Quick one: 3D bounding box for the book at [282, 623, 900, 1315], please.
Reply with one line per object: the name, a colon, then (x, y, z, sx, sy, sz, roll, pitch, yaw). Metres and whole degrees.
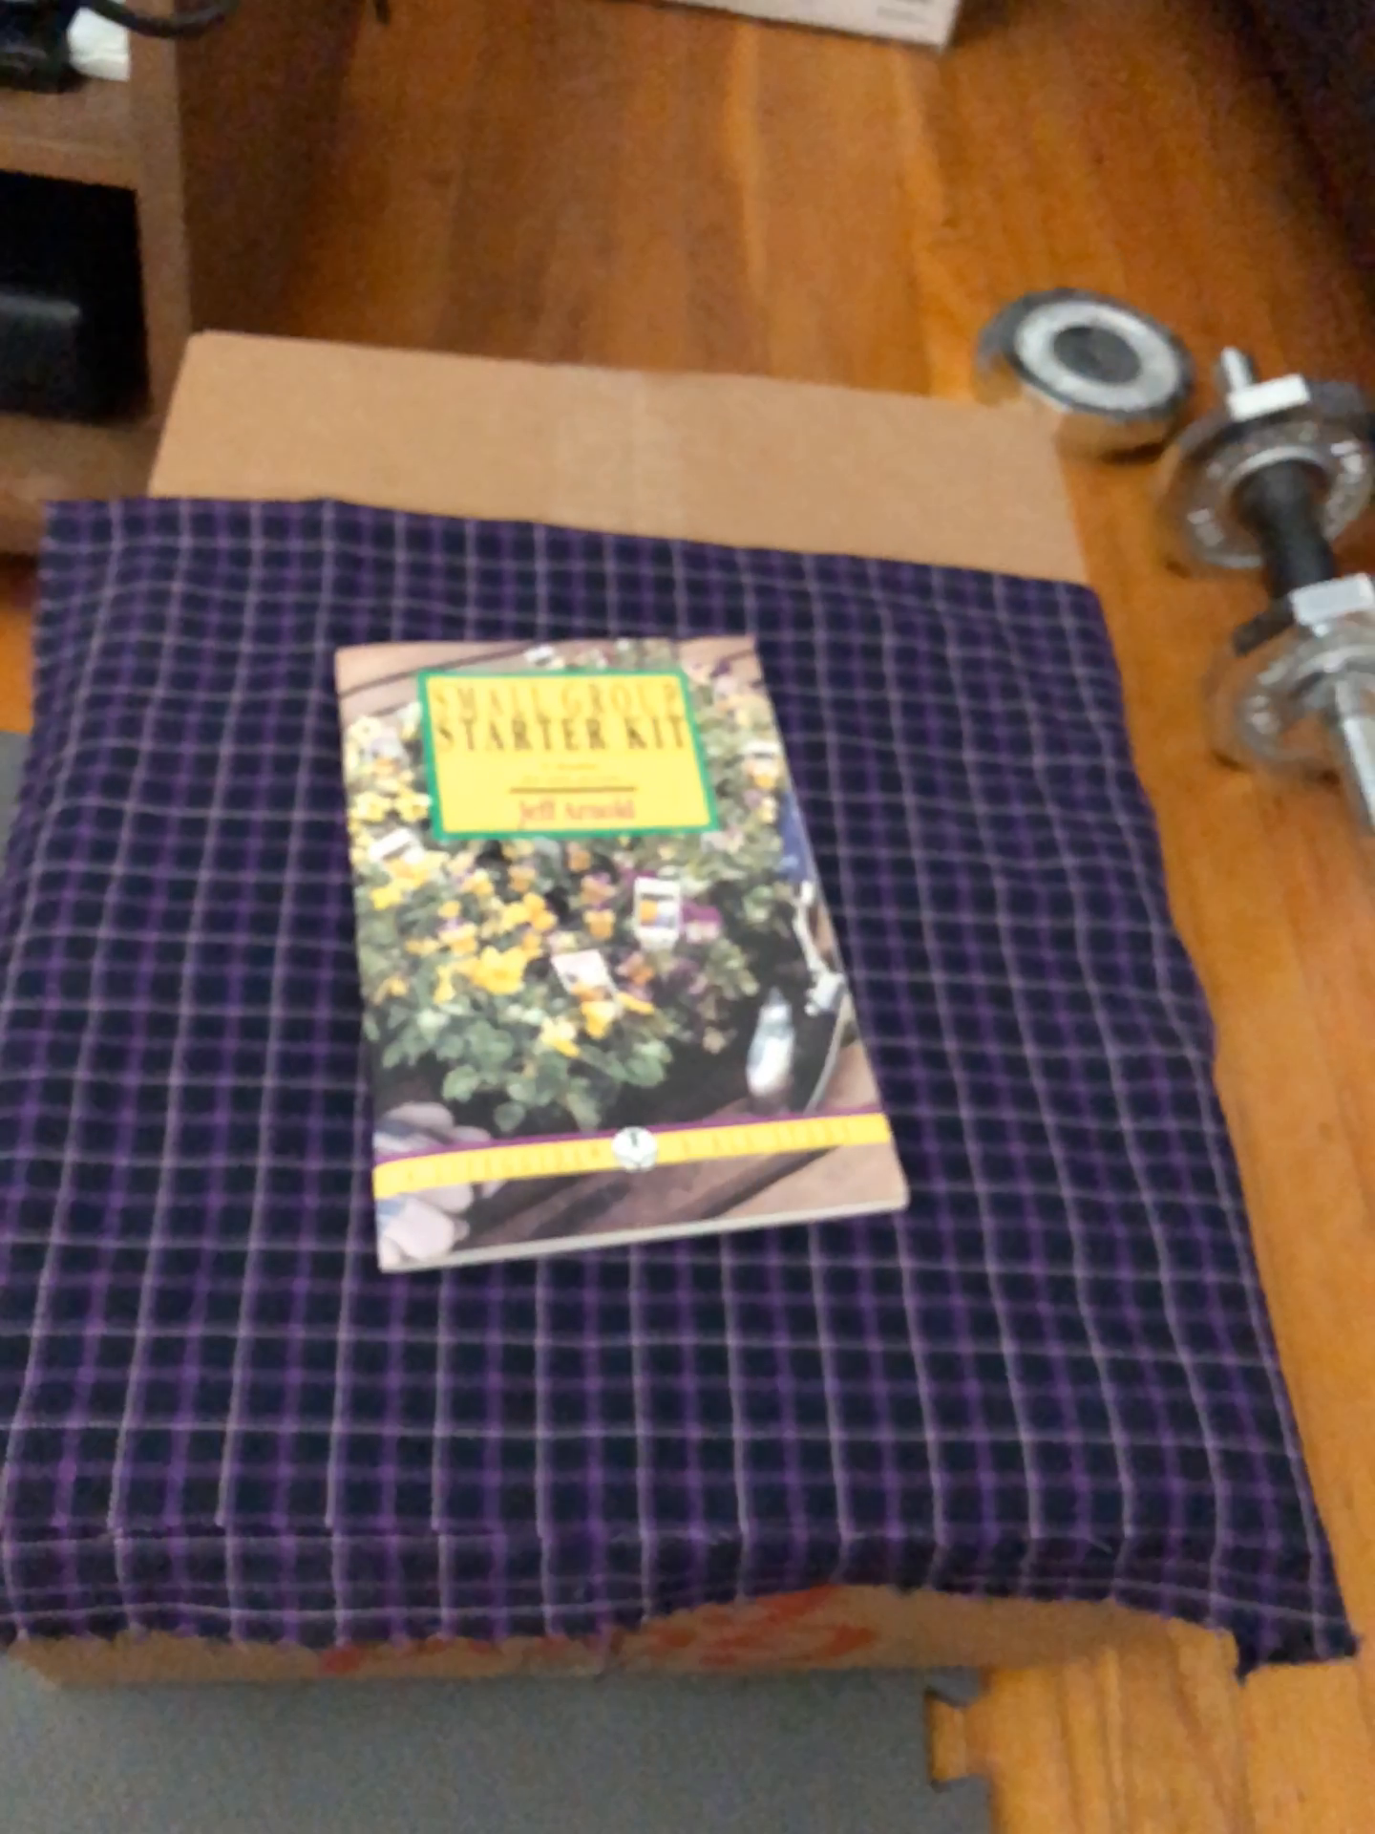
book: (-0.037, -0.001, 0.451, 0.150, 0.010, 0.221, -4, 56, -12)
